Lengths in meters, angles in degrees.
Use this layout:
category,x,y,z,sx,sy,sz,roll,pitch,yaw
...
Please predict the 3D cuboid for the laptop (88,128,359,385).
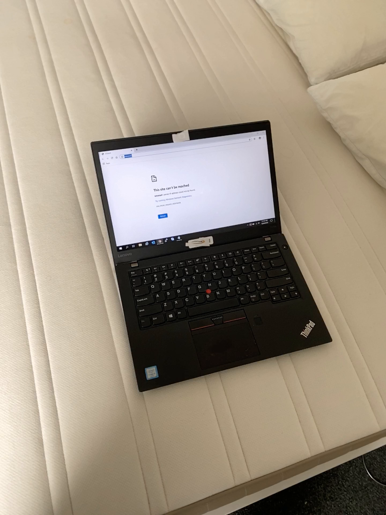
category,x,y,z,sx,sy,sz,roll,pitch,yaw
laptop,0.023,-0.027,0.661,0.320,0.120,0.382,-10,60,-14
